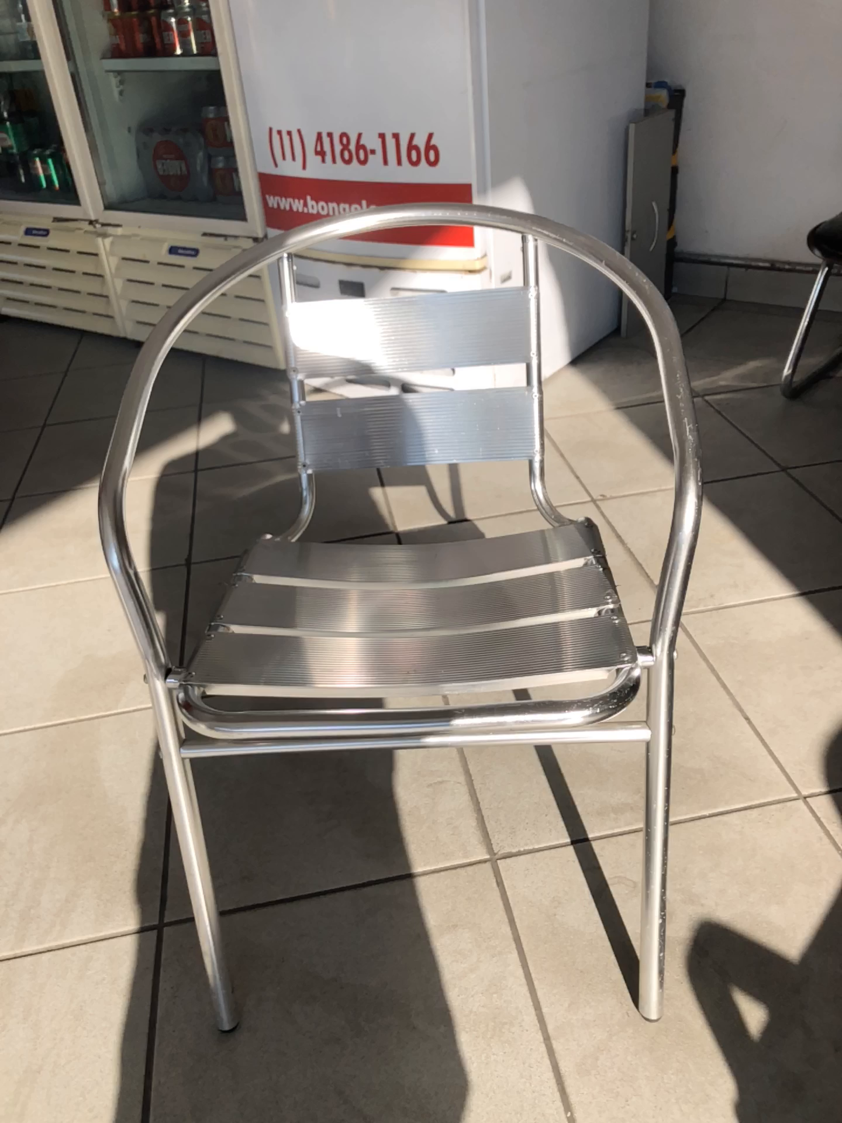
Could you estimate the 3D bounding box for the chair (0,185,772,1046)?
[{"bbox_3d":[-0.004,0.028,1.045,0.520,0.704,0.635,-3,31,4],"label":"chair"}]
